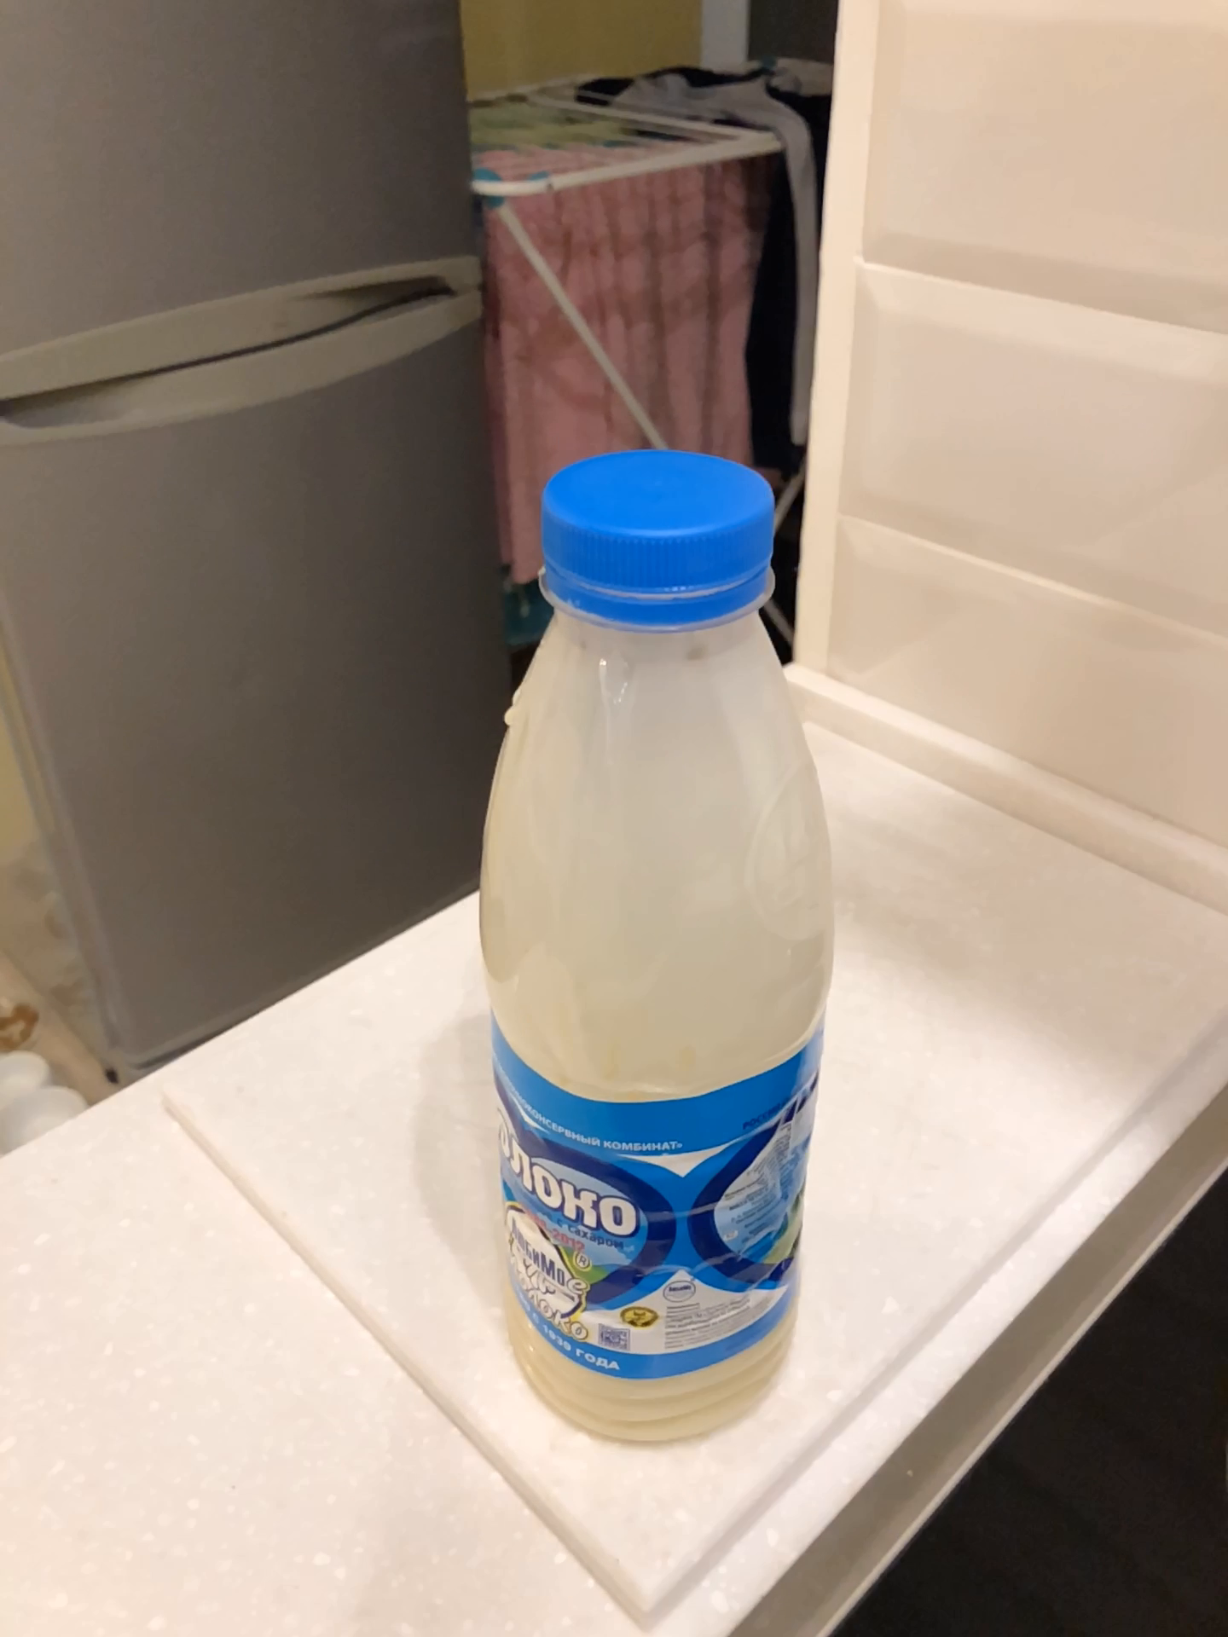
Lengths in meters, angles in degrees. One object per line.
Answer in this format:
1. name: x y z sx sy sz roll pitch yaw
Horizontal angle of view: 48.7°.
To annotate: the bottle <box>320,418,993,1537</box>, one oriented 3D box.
1. bottle: 0.008 0.039 0.288 0.080 0.213 0.080 -1 34 0
